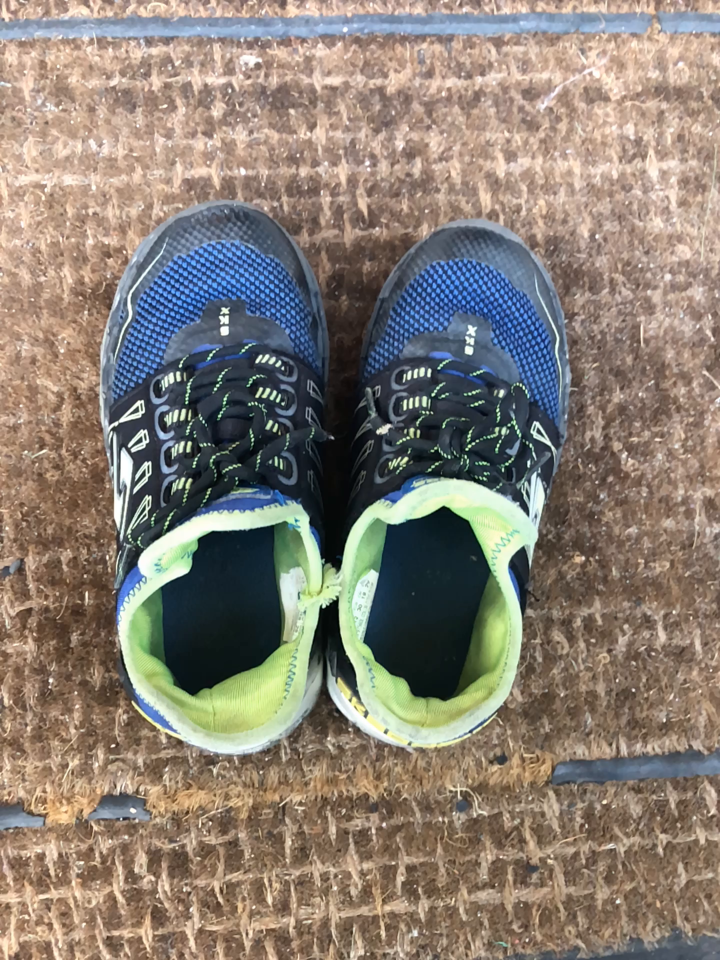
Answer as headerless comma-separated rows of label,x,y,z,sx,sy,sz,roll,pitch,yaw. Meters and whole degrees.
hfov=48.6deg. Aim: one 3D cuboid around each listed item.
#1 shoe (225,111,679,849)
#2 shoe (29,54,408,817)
shoe,0.028,0.000,0.281,0.090,0.100,0.200,14,83,-1
shoe,-0.049,-0.016,0.297,0.090,0.100,0.230,-8,84,-4
